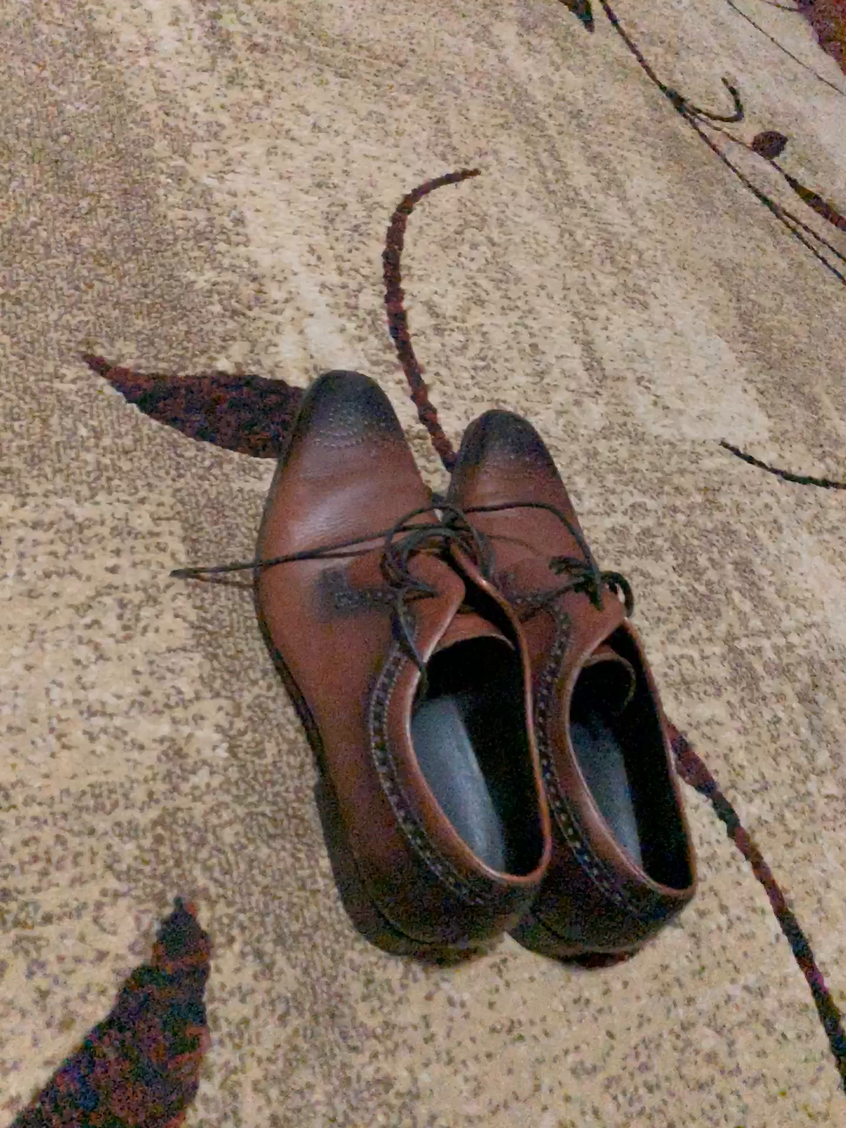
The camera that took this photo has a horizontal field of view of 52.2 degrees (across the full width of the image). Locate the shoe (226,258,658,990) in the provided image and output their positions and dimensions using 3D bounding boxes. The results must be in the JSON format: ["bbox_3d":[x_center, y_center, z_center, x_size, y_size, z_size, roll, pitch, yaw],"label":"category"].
[{"bbox_3d":[-0.013,0.019,0.388,0.100,0.115,0.287,3,60,-27],"label":"shoe"}]

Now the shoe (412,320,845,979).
[{"bbox_3d":[0.079,0.036,0.427,0.100,0.115,0.287,7,58,-25],"label":"shoe"}]
